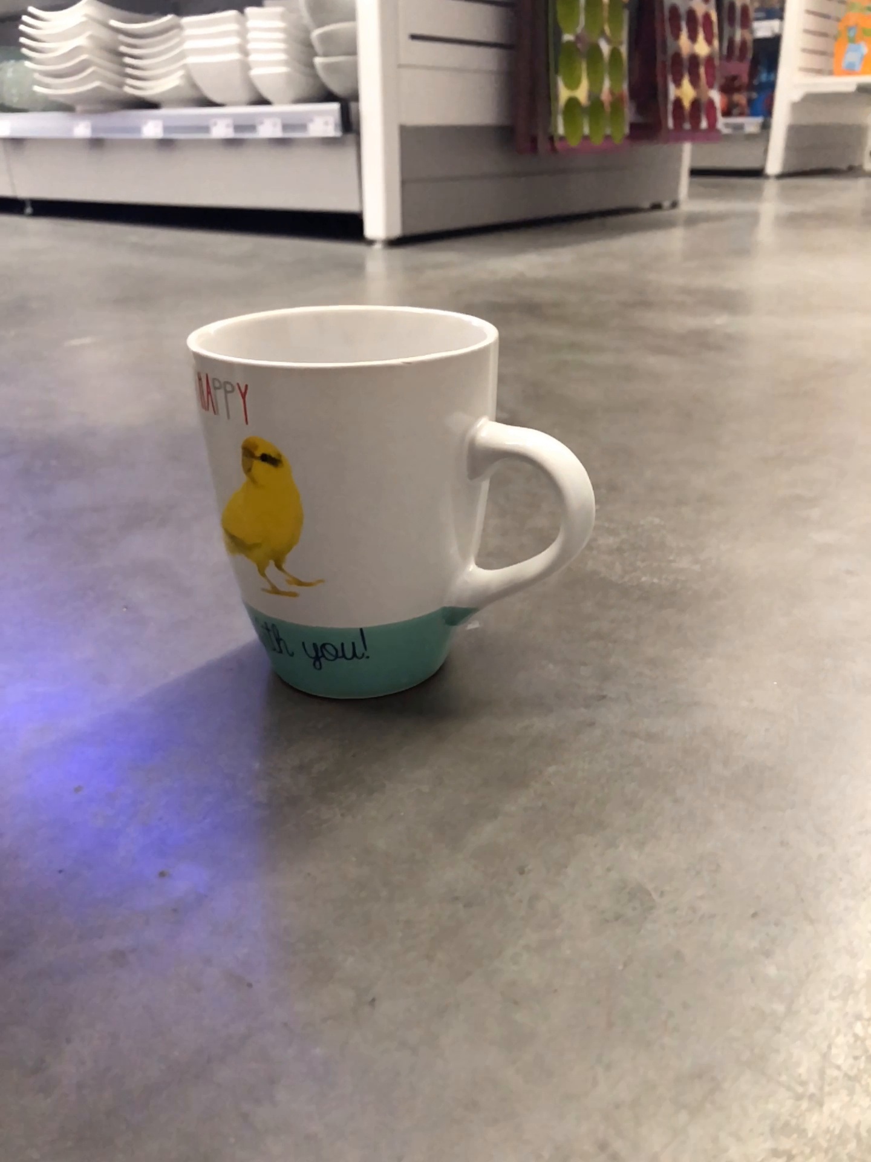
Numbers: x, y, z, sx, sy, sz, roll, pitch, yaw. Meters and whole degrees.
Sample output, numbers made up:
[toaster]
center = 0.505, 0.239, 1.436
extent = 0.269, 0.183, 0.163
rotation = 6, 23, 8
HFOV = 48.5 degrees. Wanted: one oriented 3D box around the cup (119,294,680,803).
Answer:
[cup]
center = -0.009, -0.023, 0.300
extent = 0.129, 0.107, 0.098
rotation = 16, 29, 32
